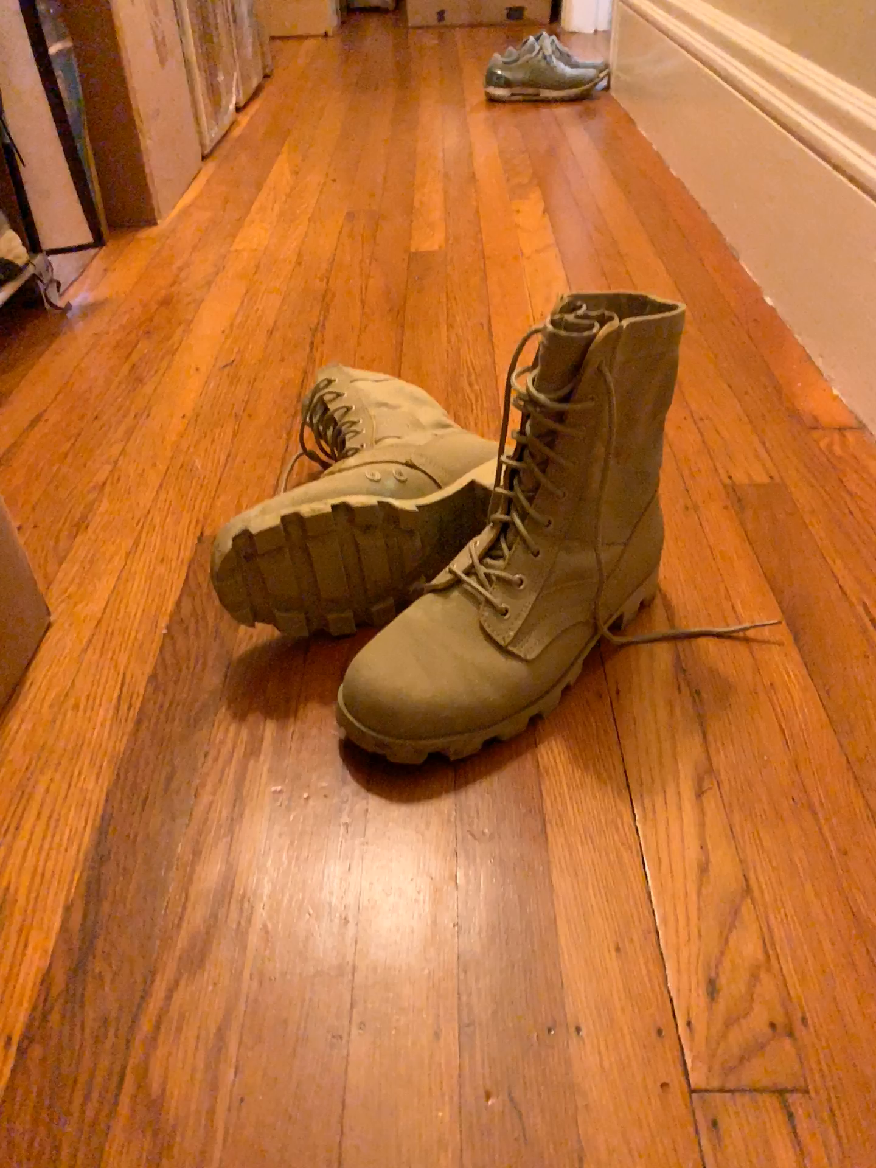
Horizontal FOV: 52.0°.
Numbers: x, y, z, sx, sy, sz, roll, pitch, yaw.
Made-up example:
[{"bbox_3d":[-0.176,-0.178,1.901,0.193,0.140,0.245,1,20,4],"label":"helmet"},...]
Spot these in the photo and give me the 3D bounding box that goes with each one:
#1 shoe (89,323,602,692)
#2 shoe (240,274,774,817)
[{"bbox_3d":[-0.069,-0.086,0.702,0.290,0.109,0.261,-29,40,-30],"label":"shoe"},{"bbox_3d":[0.051,-0.038,0.548,0.290,0.199,0.121,-30,46,-31],"label":"shoe"}]
